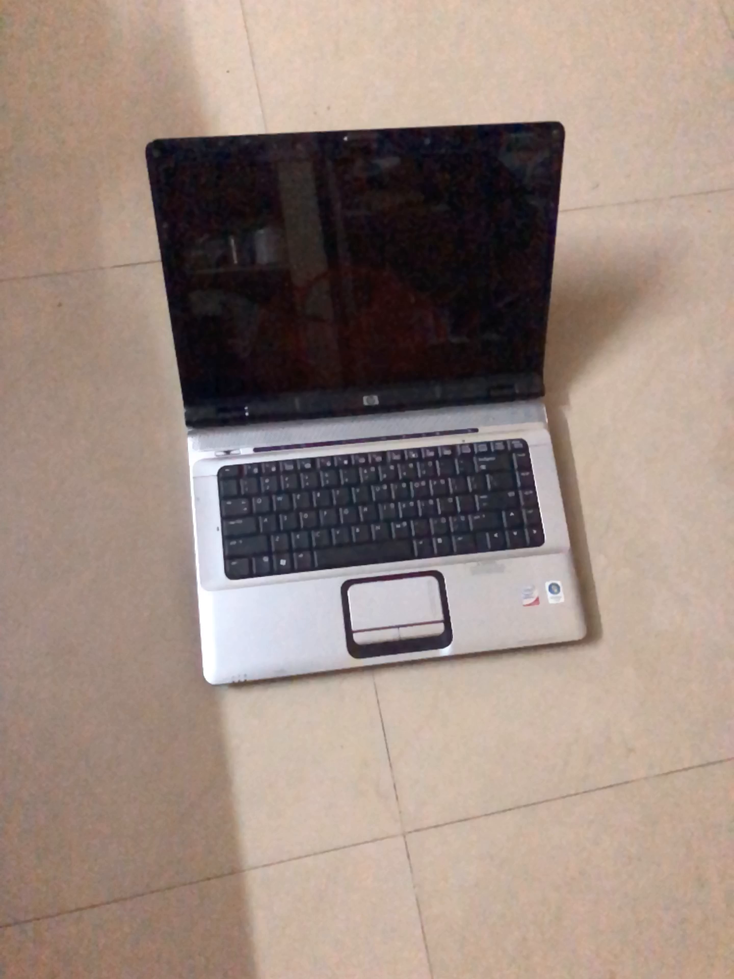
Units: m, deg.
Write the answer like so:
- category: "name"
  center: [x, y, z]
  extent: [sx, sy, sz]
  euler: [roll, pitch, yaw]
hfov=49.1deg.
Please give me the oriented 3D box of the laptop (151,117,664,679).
- category: "laptop"
  center: [0.015, -0.073, 0.680]
  extent: [0.338, 0.167, 0.409]
  euler: [-5, 76, -7]
